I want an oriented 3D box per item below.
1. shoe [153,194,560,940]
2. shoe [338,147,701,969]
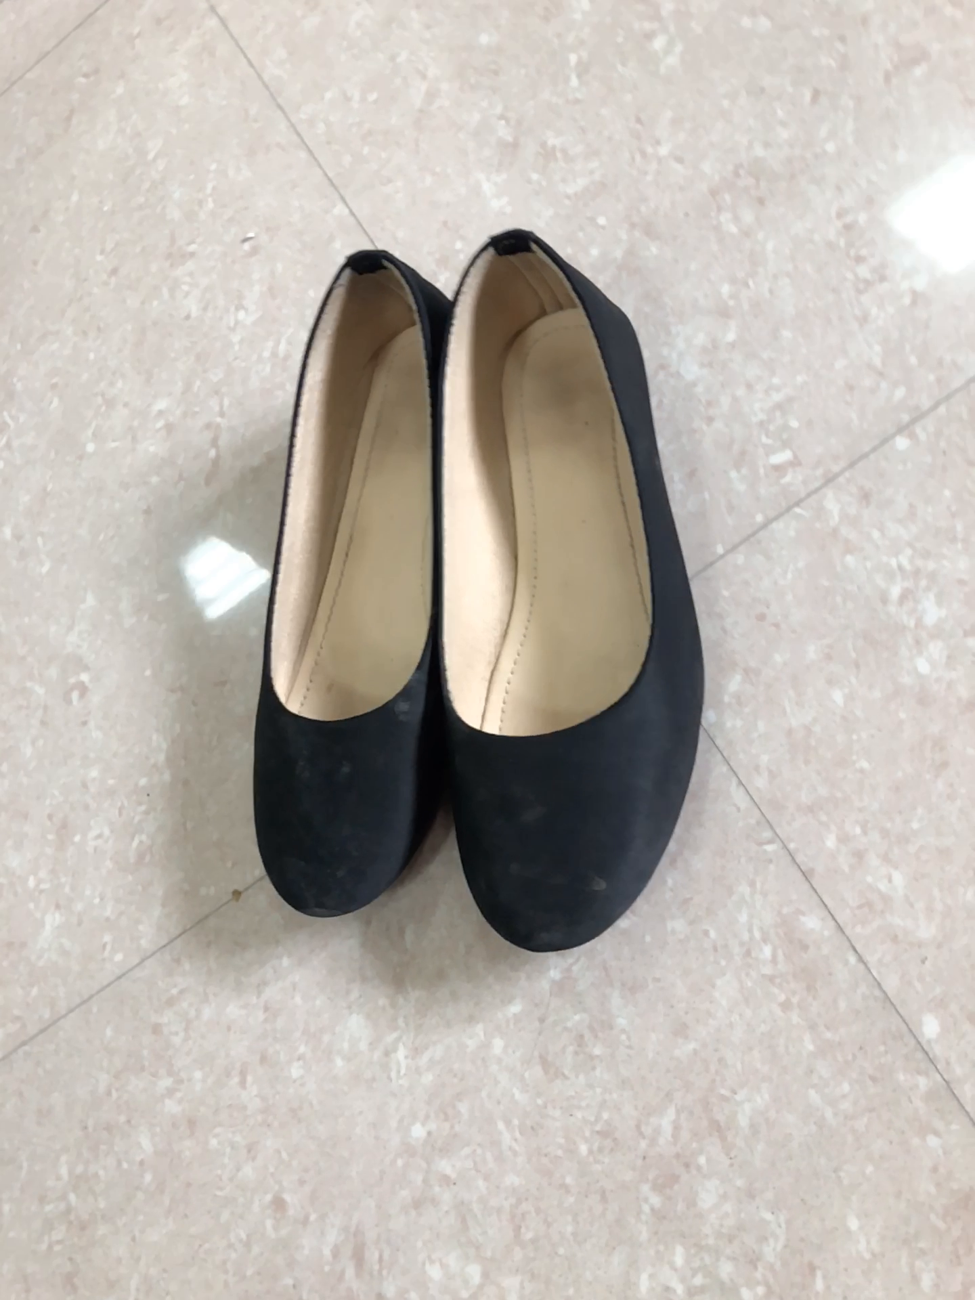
[{"bbox_3d":[-0.041,-0.030,0.393,0.090,0.060,0.250,1,75,26],"label":"shoe"},{"bbox_3d":[0.014,-0.028,0.354,0.090,0.060,0.250,-6,72,24],"label":"shoe"}]
